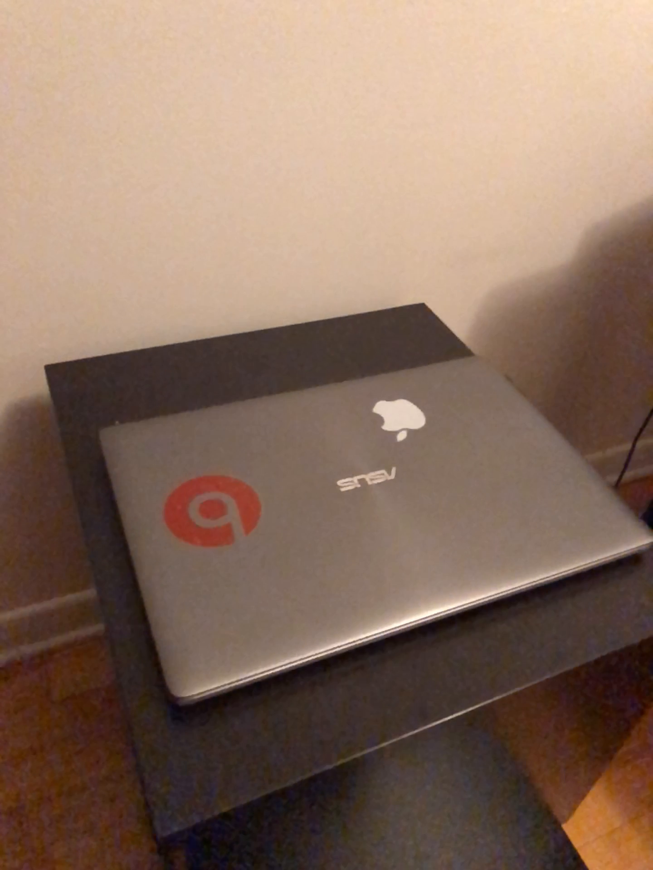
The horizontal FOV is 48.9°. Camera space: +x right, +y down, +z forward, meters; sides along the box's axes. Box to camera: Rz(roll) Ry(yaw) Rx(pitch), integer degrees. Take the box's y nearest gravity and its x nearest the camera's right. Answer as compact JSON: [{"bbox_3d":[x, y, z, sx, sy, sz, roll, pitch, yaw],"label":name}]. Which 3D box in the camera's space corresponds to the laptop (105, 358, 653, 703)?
[{"bbox_3d":[0.036,0.044,0.583,0.374,0.010,0.250,-13,45,-20],"label":"laptop"}]
